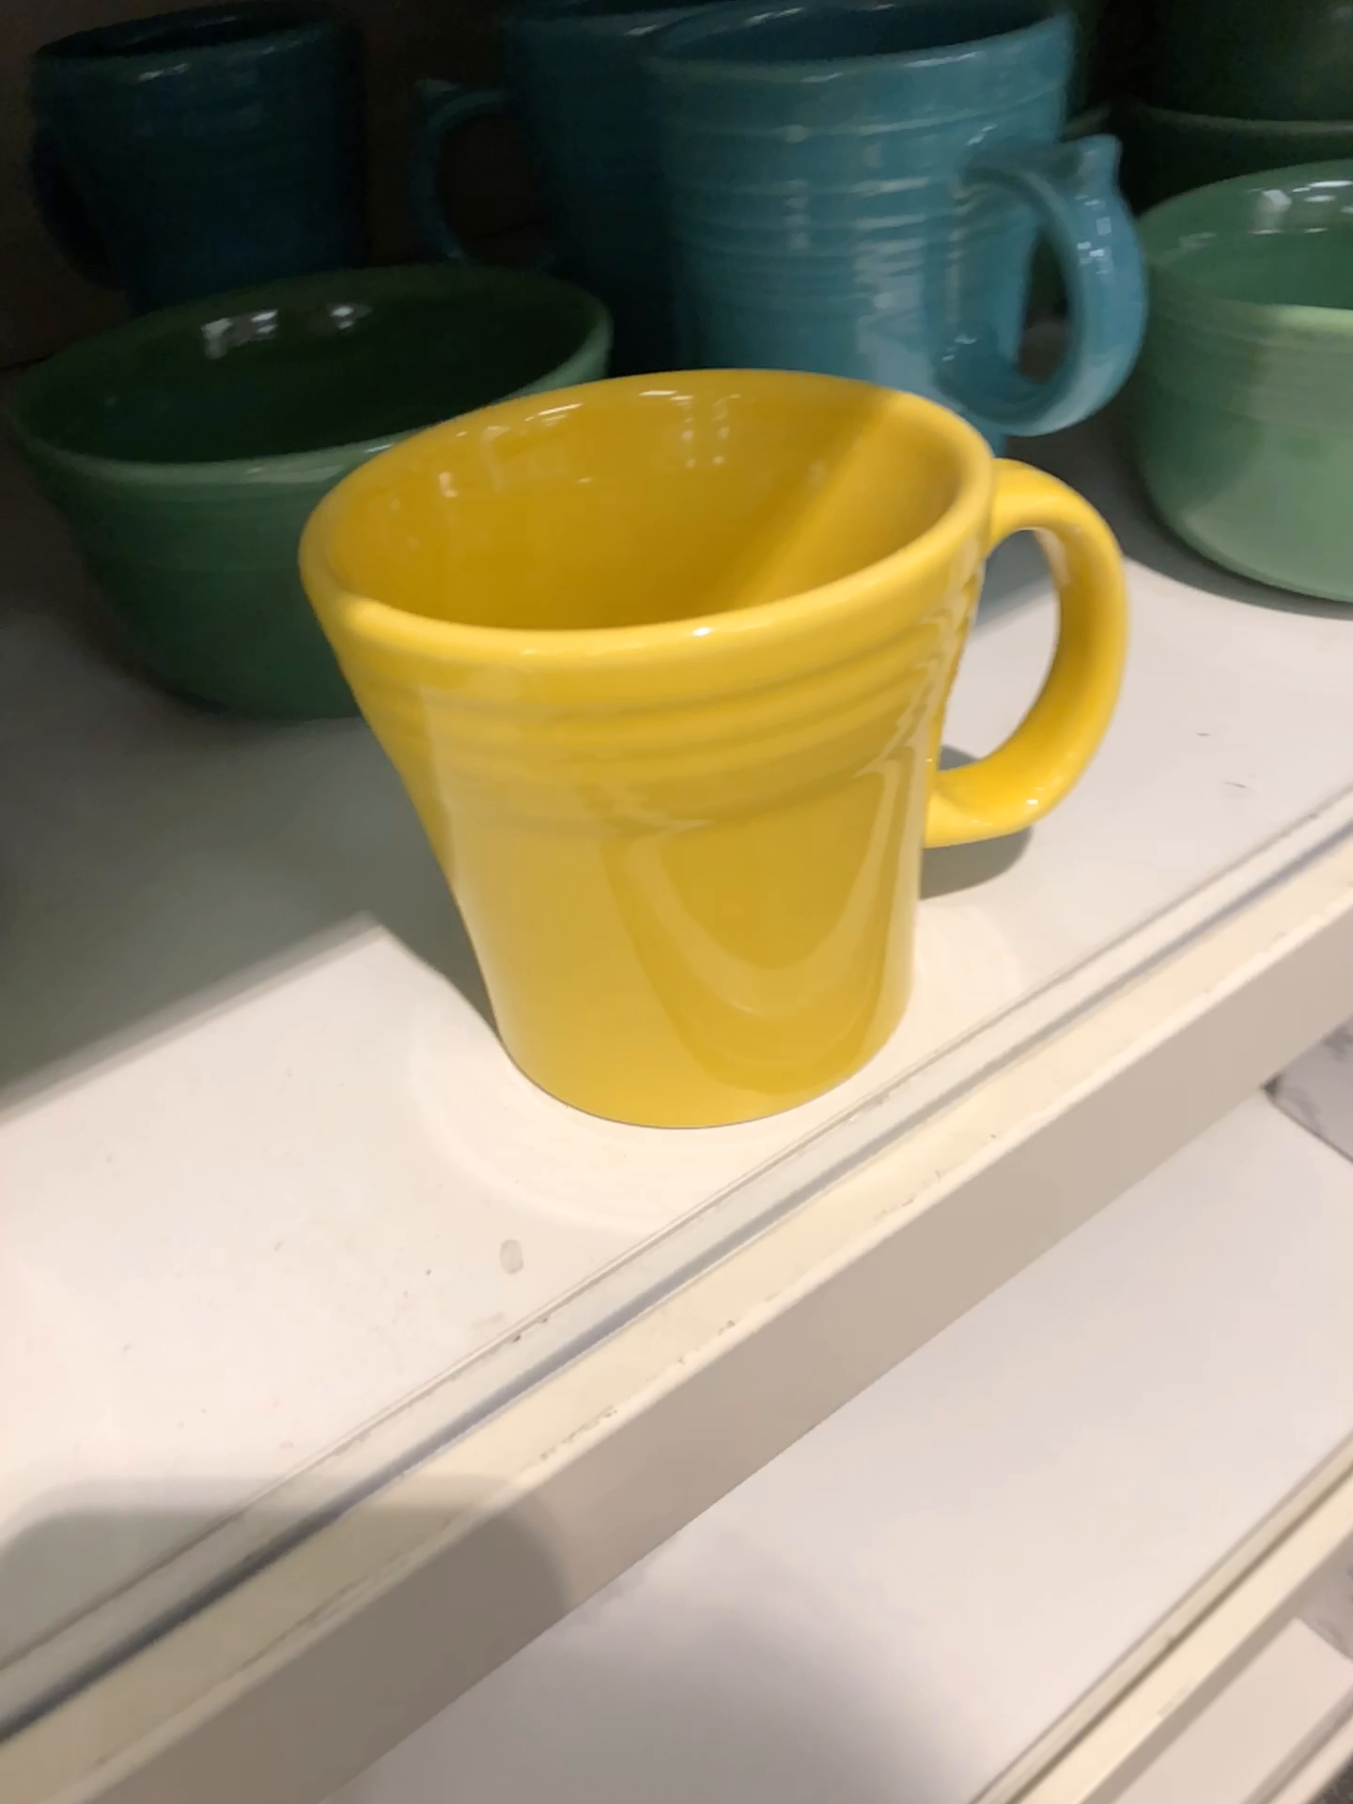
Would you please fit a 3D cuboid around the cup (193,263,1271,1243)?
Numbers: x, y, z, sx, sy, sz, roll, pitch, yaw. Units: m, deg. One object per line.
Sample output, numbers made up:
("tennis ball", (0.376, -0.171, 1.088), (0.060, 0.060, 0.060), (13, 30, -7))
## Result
("cup", (0.009, -0.035, 0.266), (0.137, 0.100, 0.097), (-24, 42, -21))
